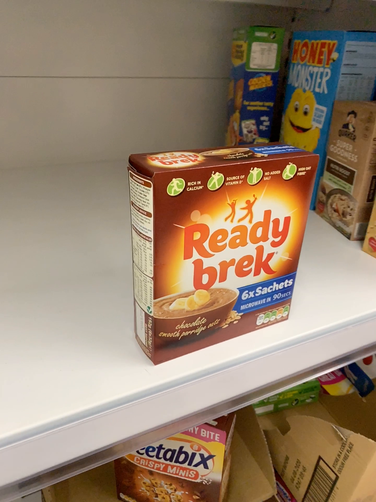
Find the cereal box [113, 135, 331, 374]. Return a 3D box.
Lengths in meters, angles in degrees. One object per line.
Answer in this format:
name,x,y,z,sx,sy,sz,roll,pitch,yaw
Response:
cereal box,0.029,-0.003,0.371,0.180,0.188,0.060,-12,30,-26
